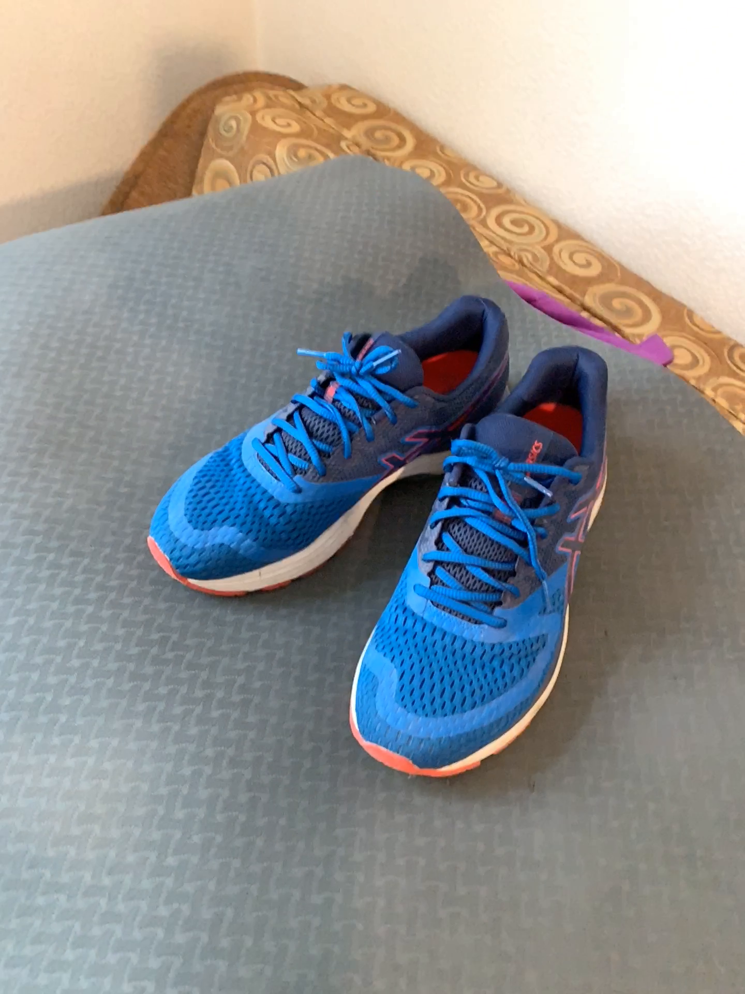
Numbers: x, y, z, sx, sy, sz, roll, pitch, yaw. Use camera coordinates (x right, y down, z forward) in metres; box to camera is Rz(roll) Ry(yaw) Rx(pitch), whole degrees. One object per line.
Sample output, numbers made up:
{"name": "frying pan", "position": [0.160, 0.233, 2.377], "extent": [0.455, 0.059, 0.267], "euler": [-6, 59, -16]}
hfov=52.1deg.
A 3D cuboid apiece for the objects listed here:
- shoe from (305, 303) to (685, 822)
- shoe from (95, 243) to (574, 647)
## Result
{"name": "shoe", "position": [0.085, 0.025, 0.490], "extent": [0.120, 0.110, 0.301], "euler": [25, 56, 12]}
{"name": "shoe", "position": [-0.017, -0.048, 0.537], "extent": [0.301, 0.110, 0.120], "euler": [-33, 64, -25]}
